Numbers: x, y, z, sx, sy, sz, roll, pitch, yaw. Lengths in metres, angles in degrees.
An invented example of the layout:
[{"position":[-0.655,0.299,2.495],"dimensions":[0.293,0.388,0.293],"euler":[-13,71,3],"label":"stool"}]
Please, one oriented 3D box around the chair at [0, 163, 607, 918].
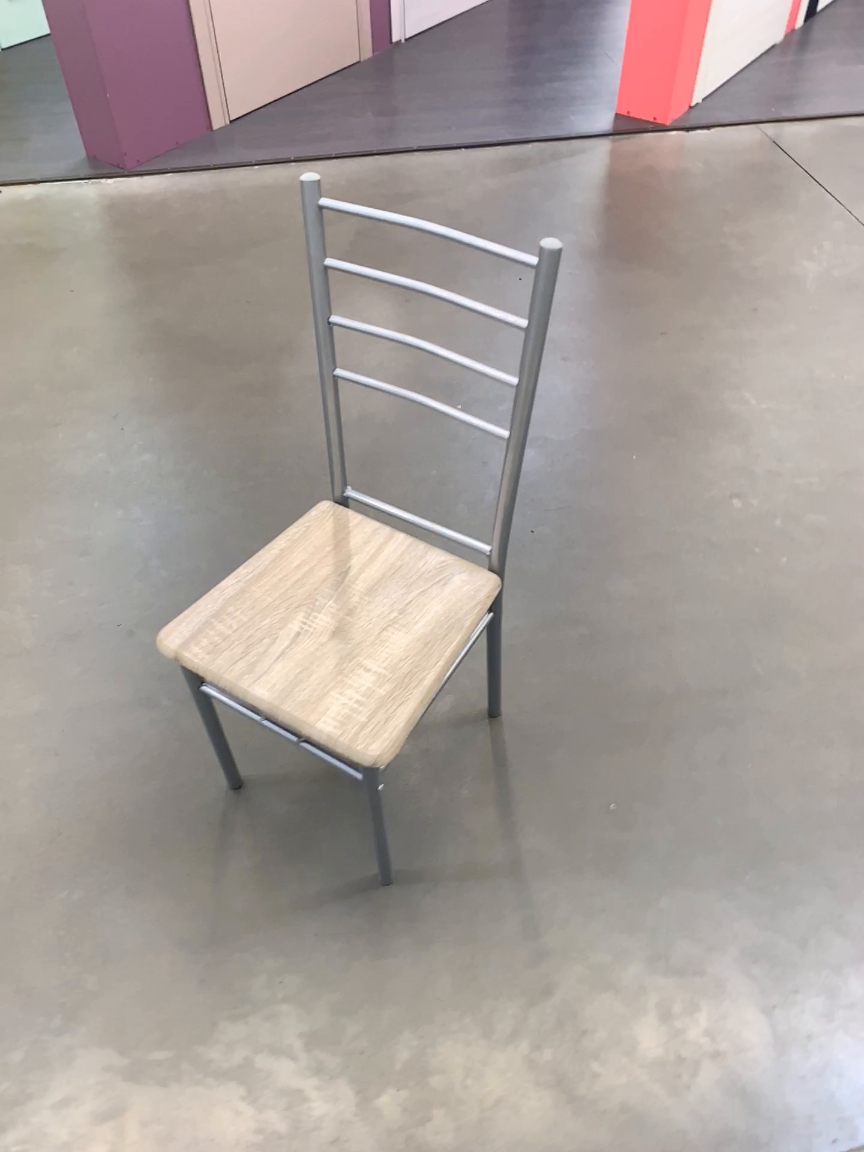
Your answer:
[{"position":[-0.107,-0.007,1.197],"dimensions":[0.411,0.837,0.471],"euler":[26,53,23],"label":"chair"}]
